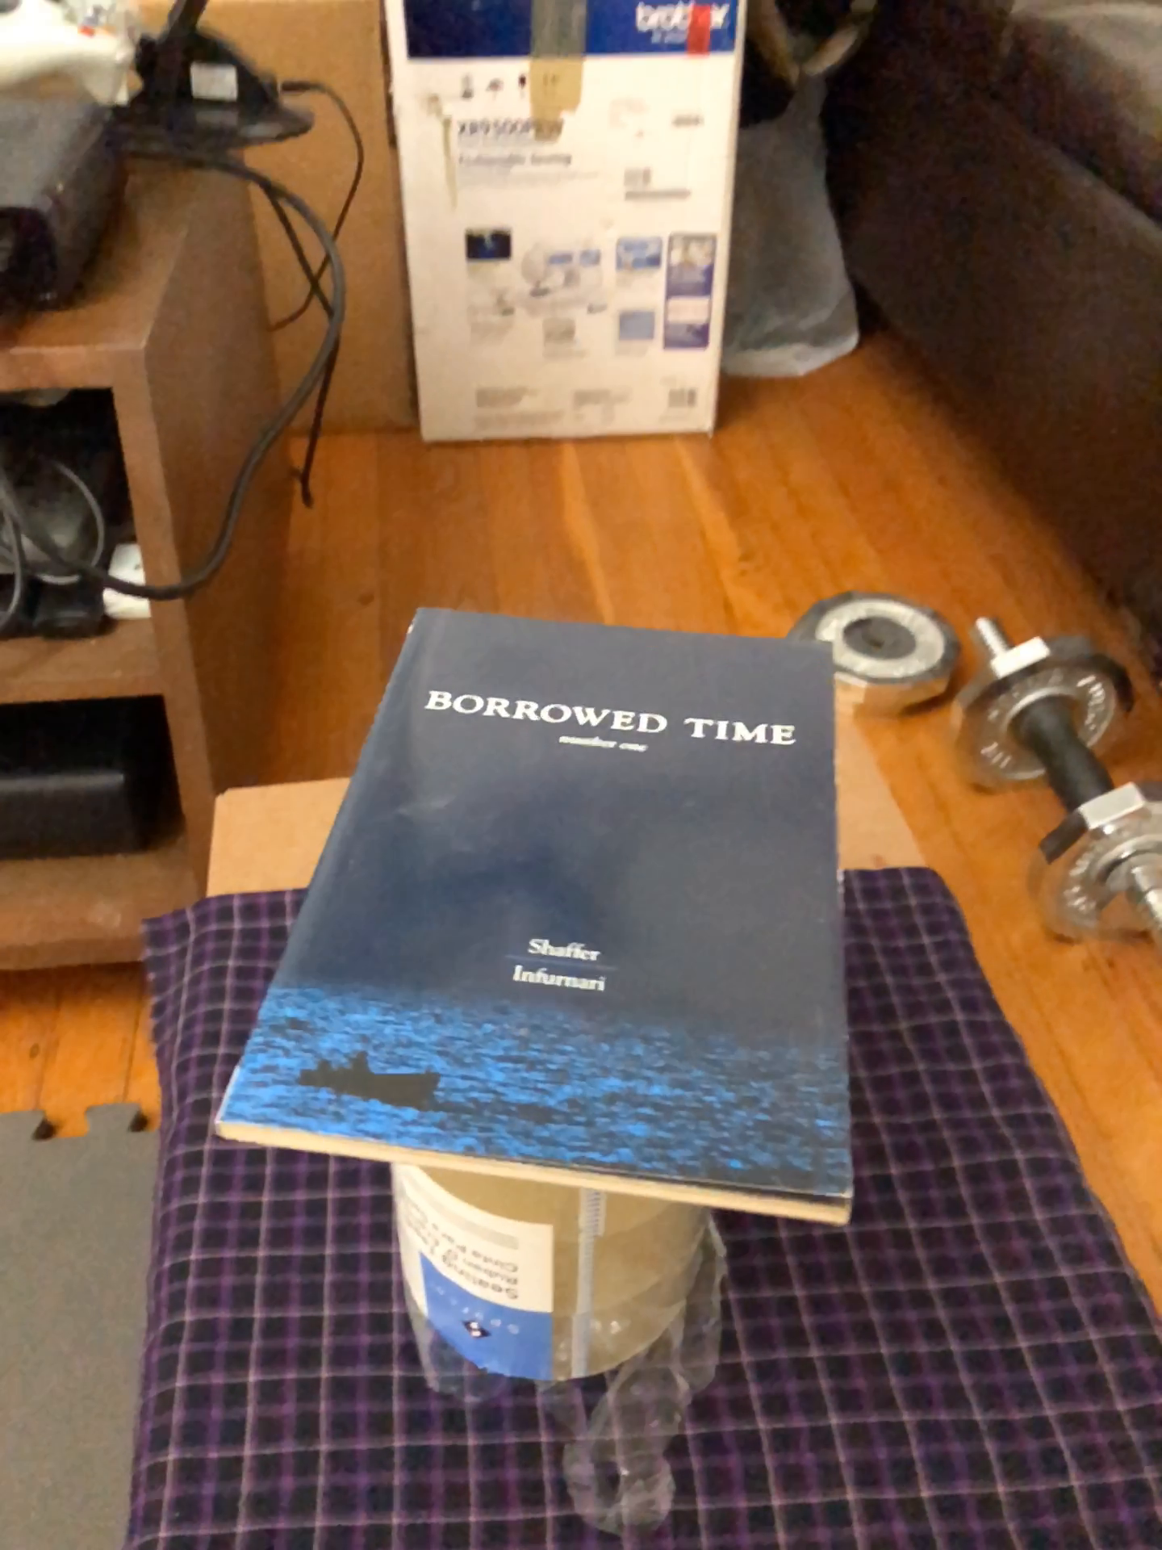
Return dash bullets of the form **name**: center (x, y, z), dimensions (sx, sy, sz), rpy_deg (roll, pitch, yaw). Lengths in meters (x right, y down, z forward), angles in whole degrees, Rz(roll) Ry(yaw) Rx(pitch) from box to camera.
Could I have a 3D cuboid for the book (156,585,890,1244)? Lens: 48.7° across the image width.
- **book**: center (0.000, 0.016, 0.368), dimensions (0.160, 0.010, 0.231), rpy_deg (6, 40, 5)
